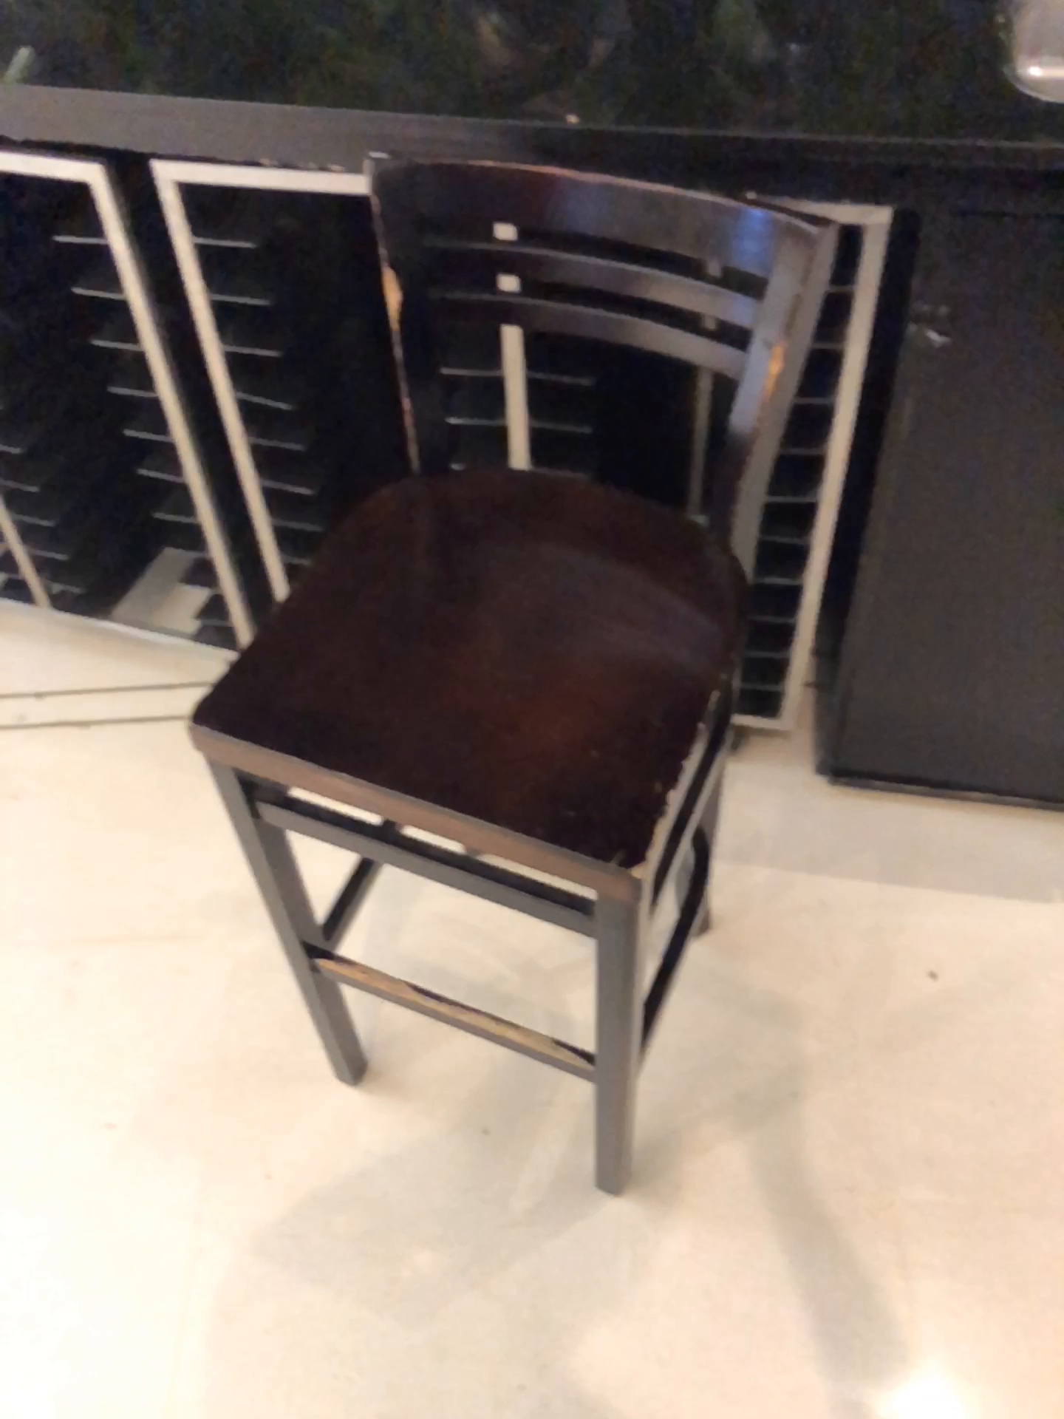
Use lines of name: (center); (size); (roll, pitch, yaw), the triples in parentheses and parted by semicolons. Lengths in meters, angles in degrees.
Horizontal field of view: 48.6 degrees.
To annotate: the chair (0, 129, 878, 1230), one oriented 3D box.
chair: (-0.018, 0.037, 1.121); (0.440, 0.914, 0.452); (17, 52, 18)
